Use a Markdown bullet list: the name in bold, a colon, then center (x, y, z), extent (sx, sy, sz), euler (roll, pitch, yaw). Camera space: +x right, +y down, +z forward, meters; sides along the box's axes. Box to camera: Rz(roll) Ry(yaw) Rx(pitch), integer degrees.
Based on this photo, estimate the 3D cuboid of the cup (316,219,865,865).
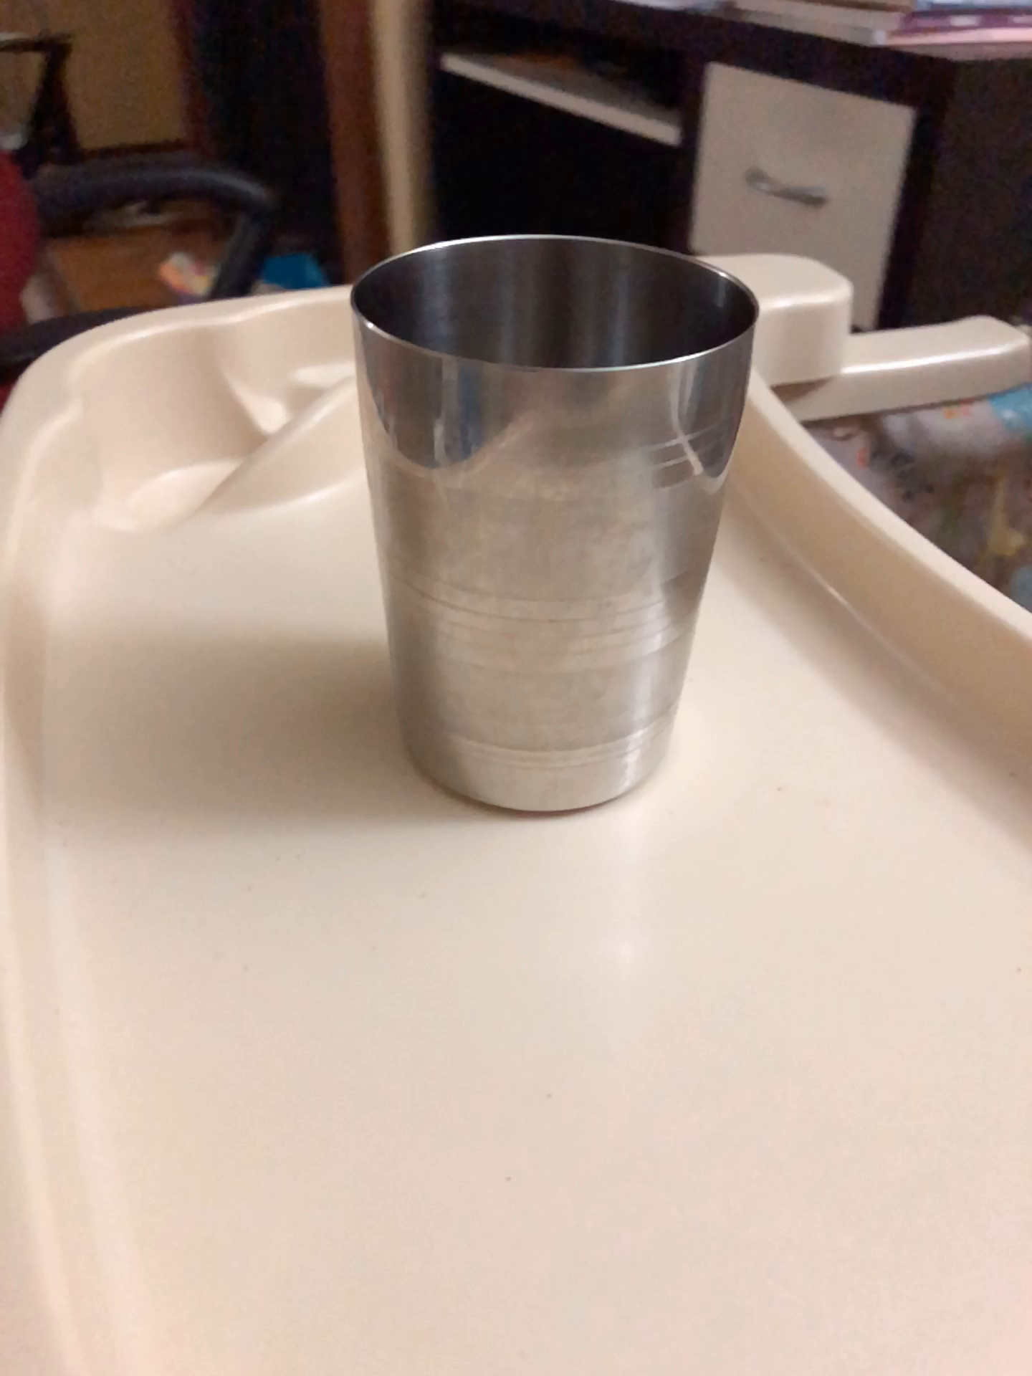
- **cup**: center (0.008, -0.031, 0.222), extent (0.073, 0.090, 0.074), euler (0, 37, 0)
